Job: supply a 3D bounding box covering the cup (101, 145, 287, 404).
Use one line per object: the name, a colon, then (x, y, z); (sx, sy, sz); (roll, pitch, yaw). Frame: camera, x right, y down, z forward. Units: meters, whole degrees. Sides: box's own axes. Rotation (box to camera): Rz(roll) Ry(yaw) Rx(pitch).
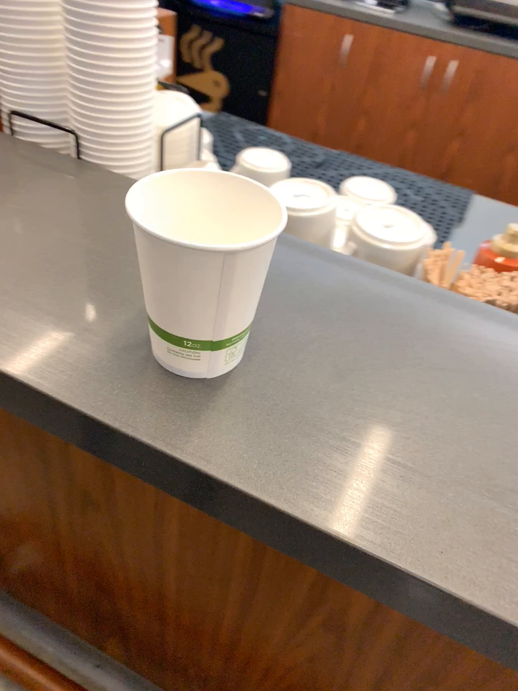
cup: (-0.039, -0.043, 0.332); (0.080, 0.119, 0.080); (6, 41, -5)
